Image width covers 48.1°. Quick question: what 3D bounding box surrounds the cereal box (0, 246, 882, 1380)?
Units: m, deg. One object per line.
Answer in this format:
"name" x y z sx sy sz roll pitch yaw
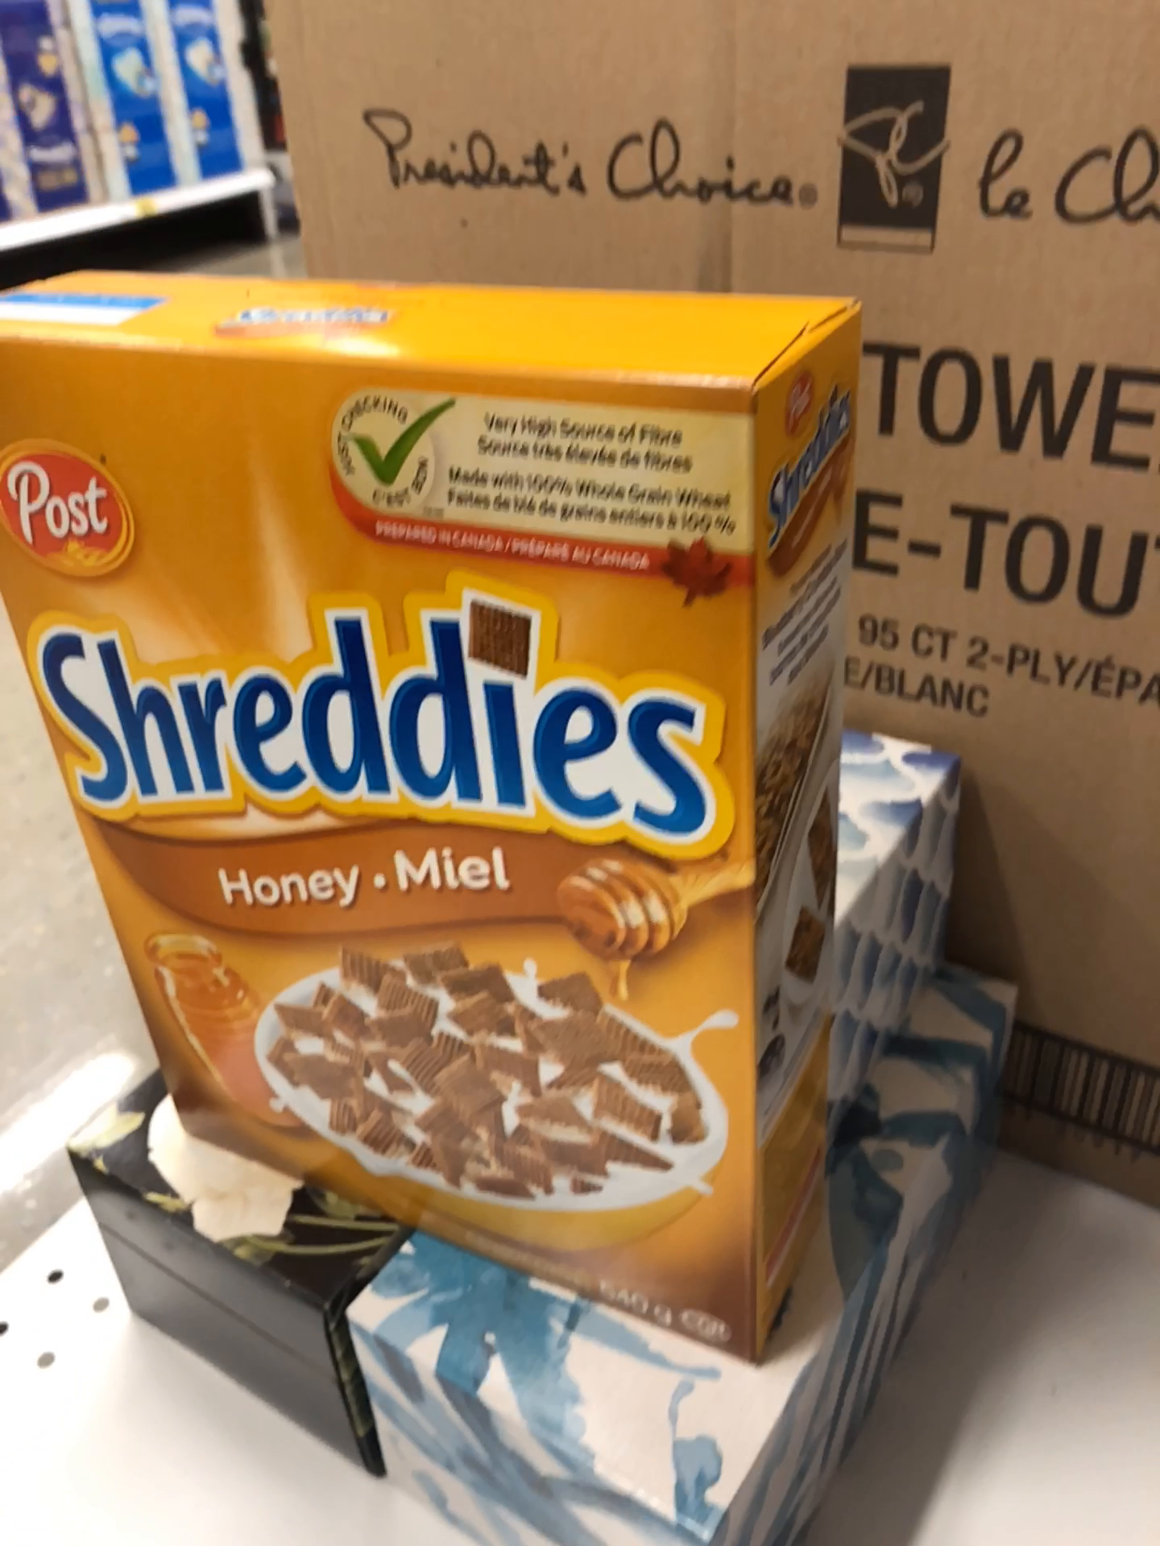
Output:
"cereal box" -0.046 0.010 0.333 0.220 0.259 0.060 12 35 25
